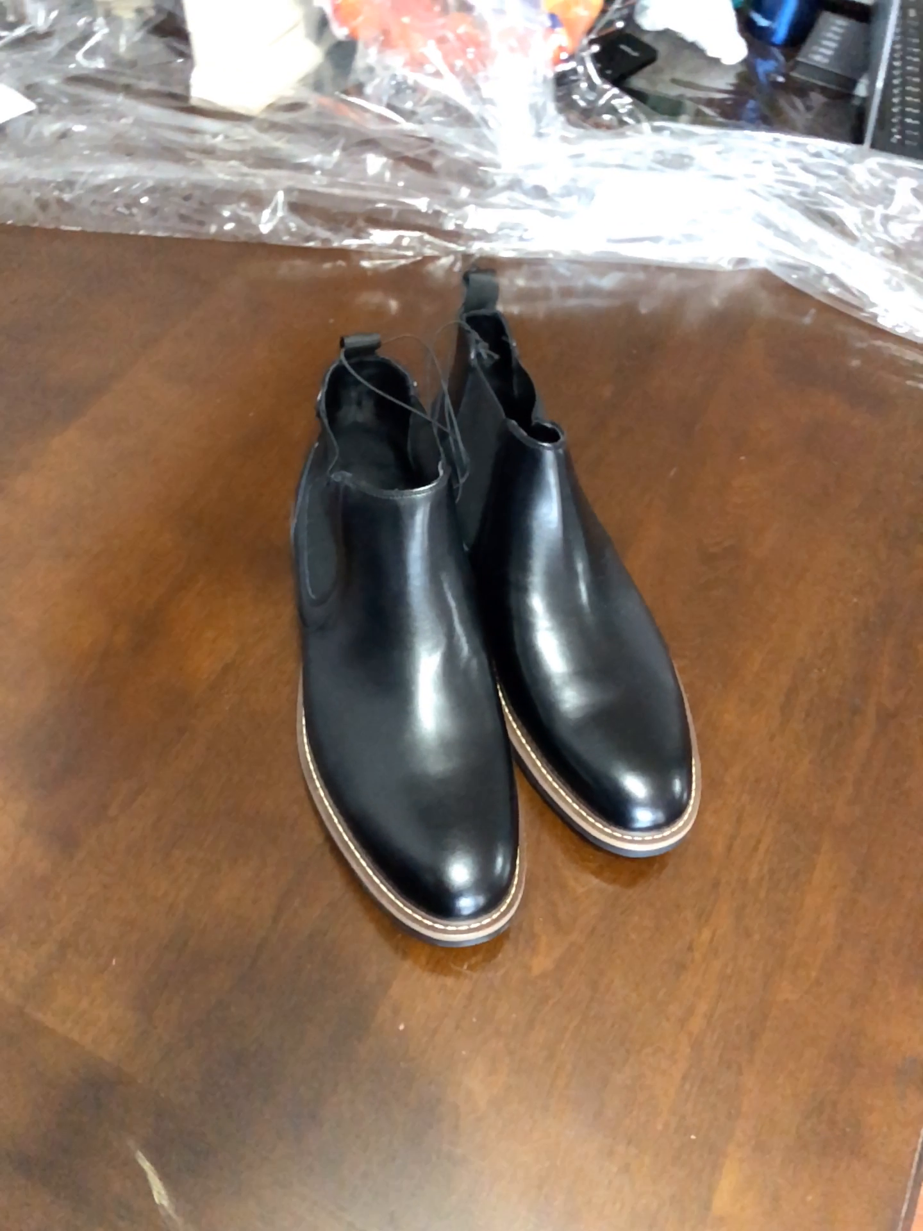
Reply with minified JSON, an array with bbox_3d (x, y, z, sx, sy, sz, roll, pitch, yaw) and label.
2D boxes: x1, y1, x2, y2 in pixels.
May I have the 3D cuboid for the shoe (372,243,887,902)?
[{"bbox_3d":[0.060,-0.030,0.560,0.120,0.170,0.300,-17,59,-16],"label":"shoe"}]

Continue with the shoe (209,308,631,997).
[{"bbox_3d":[-0.039,0.012,0.537,0.120,0.170,0.301,-11,58,-12],"label":"shoe"}]
